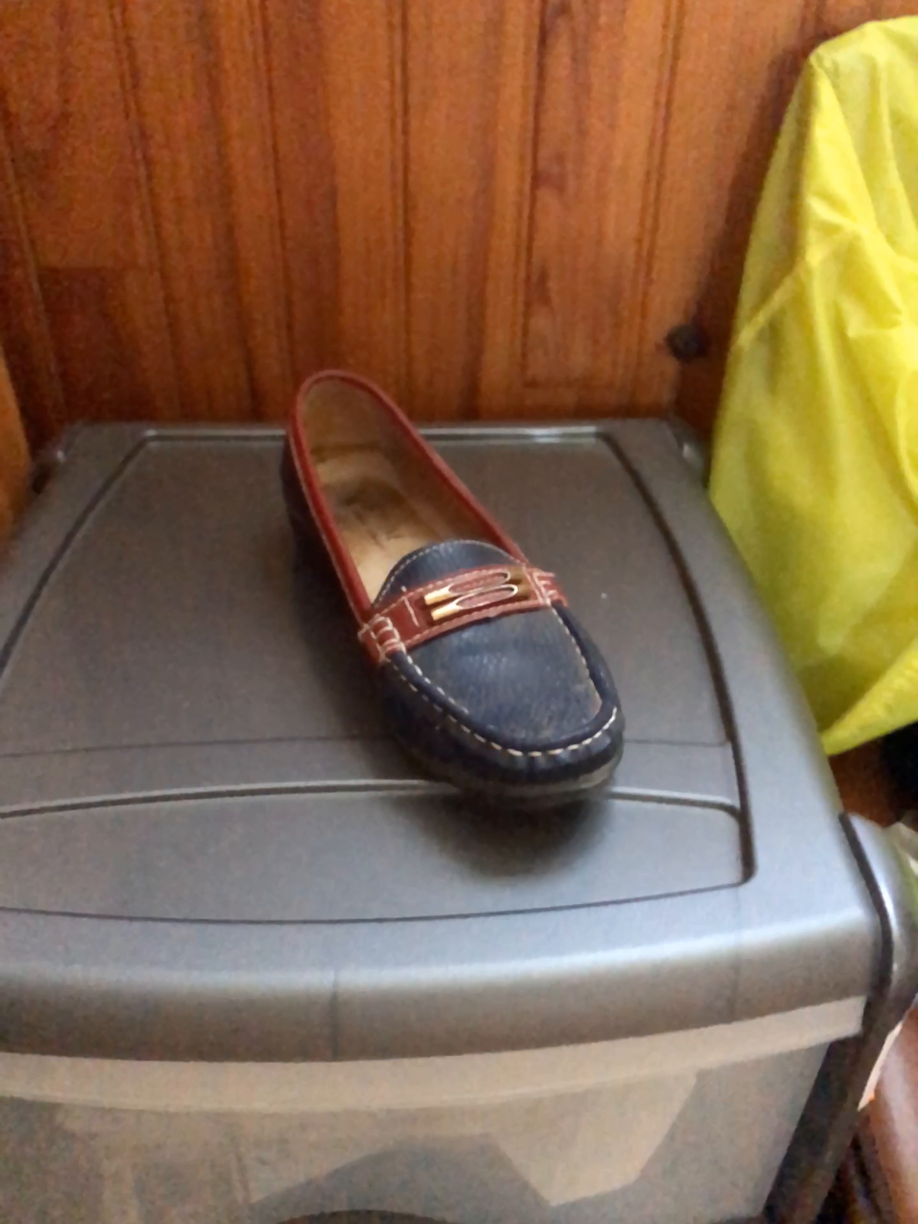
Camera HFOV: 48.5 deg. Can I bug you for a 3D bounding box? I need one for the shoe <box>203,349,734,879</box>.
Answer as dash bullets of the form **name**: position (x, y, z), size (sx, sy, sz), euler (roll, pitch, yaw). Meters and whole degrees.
- **shoe**: position (-0.016, -0.023, 0.422), size (0.100, 0.070, 0.261), euler (-16, 39, -22)
